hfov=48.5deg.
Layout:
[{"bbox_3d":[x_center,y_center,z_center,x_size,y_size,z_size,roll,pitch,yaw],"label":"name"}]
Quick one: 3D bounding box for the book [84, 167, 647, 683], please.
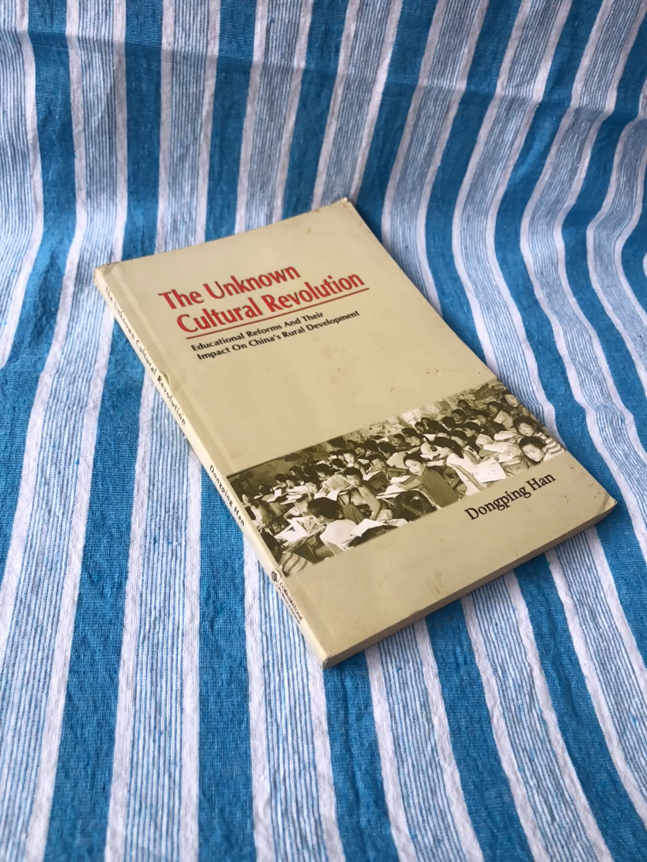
[{"bbox_3d":[0.005,-0.030,0.307,0.140,0.020,0.230,-23,55,-19],"label":"book"}]
